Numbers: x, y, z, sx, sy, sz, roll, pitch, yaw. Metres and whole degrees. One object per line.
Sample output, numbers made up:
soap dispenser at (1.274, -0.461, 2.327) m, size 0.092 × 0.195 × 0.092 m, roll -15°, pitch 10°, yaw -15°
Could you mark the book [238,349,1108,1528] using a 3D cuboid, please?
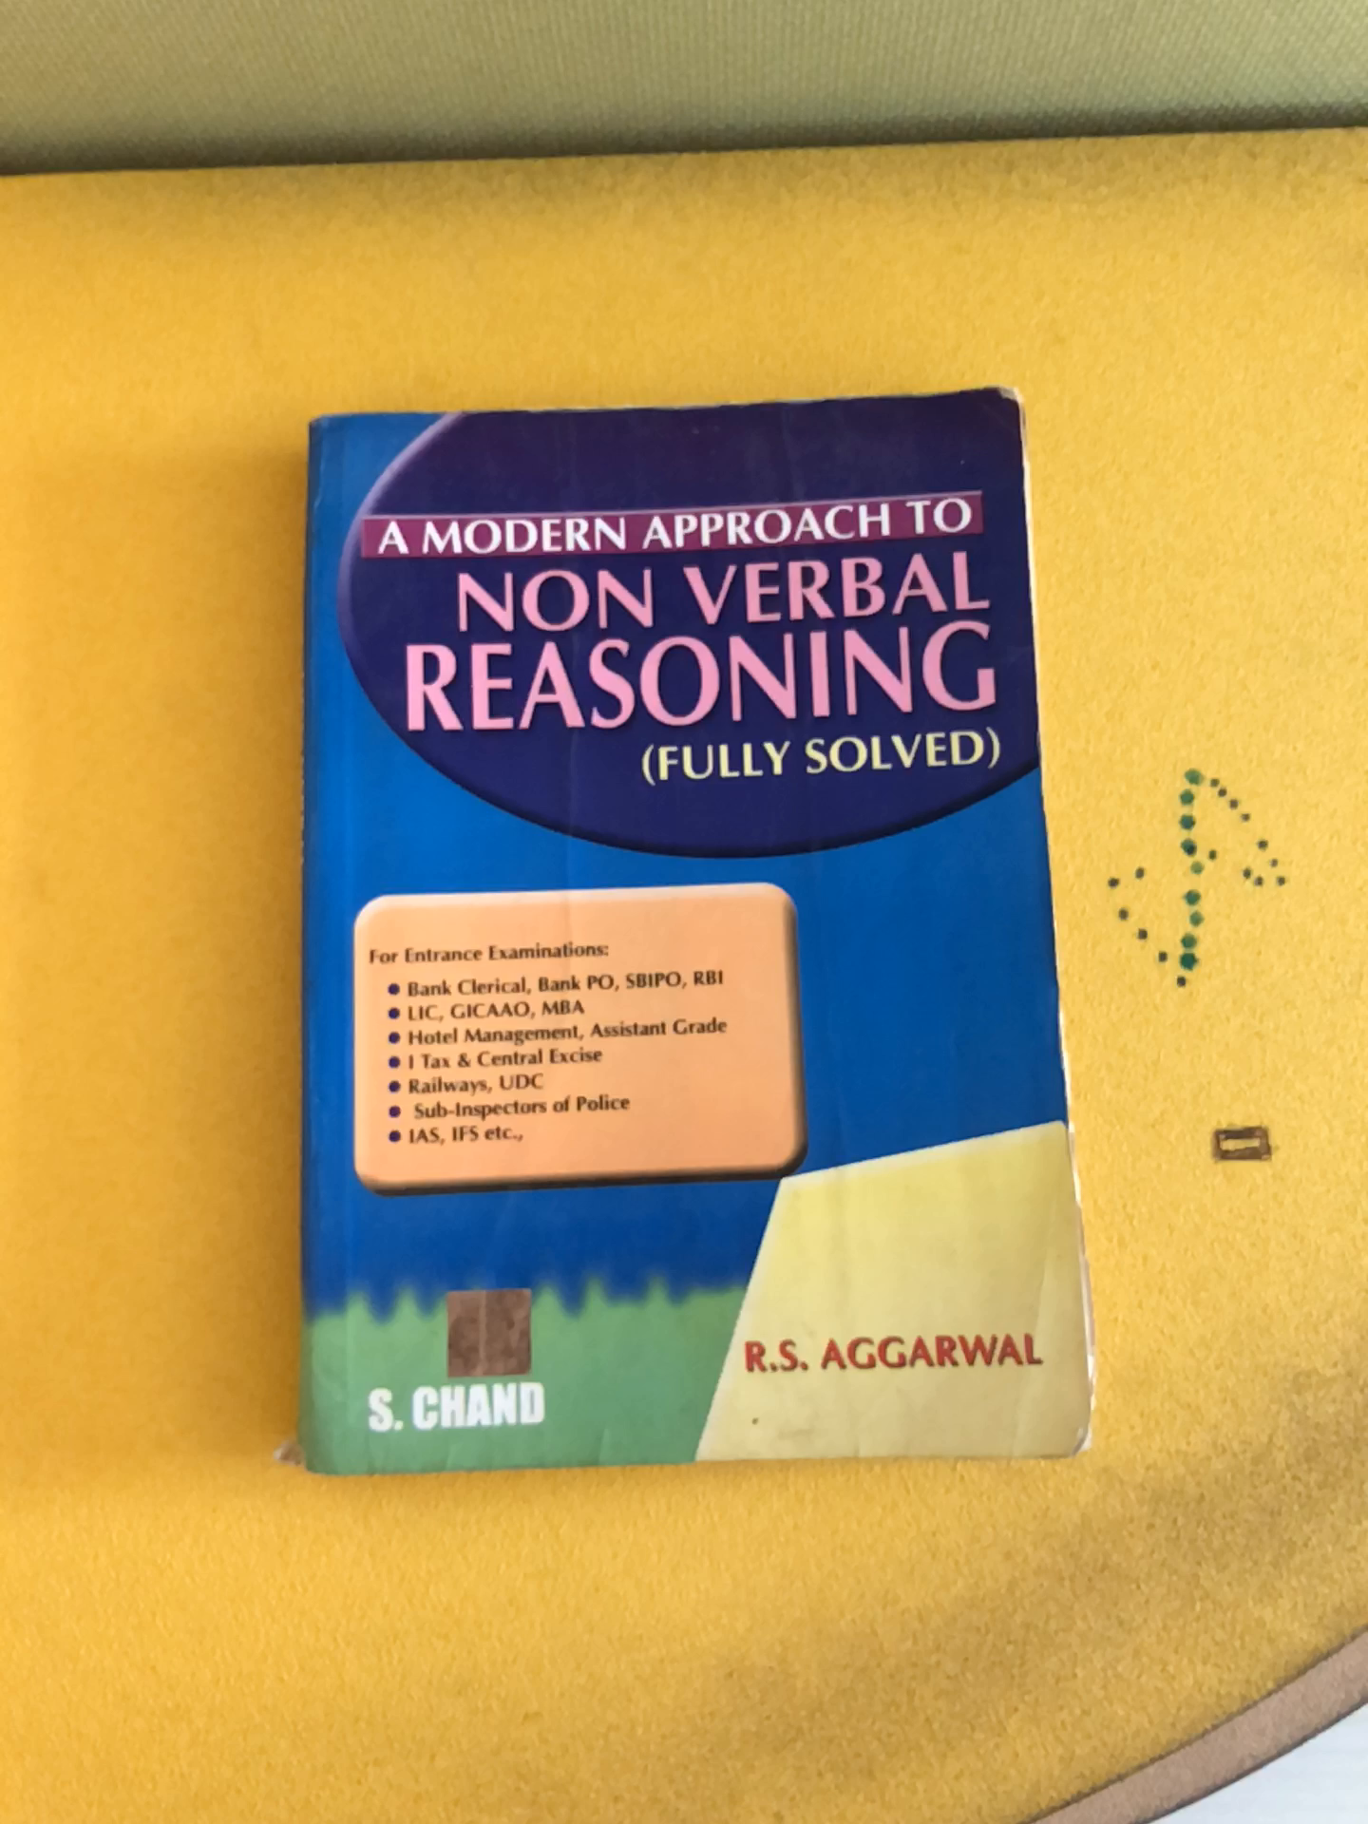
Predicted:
book at (-0.007, 0.002, 0.337) m, size 0.170 × 0.040 × 0.240 m, roll -2°, pitch 81°, yaw 0°
